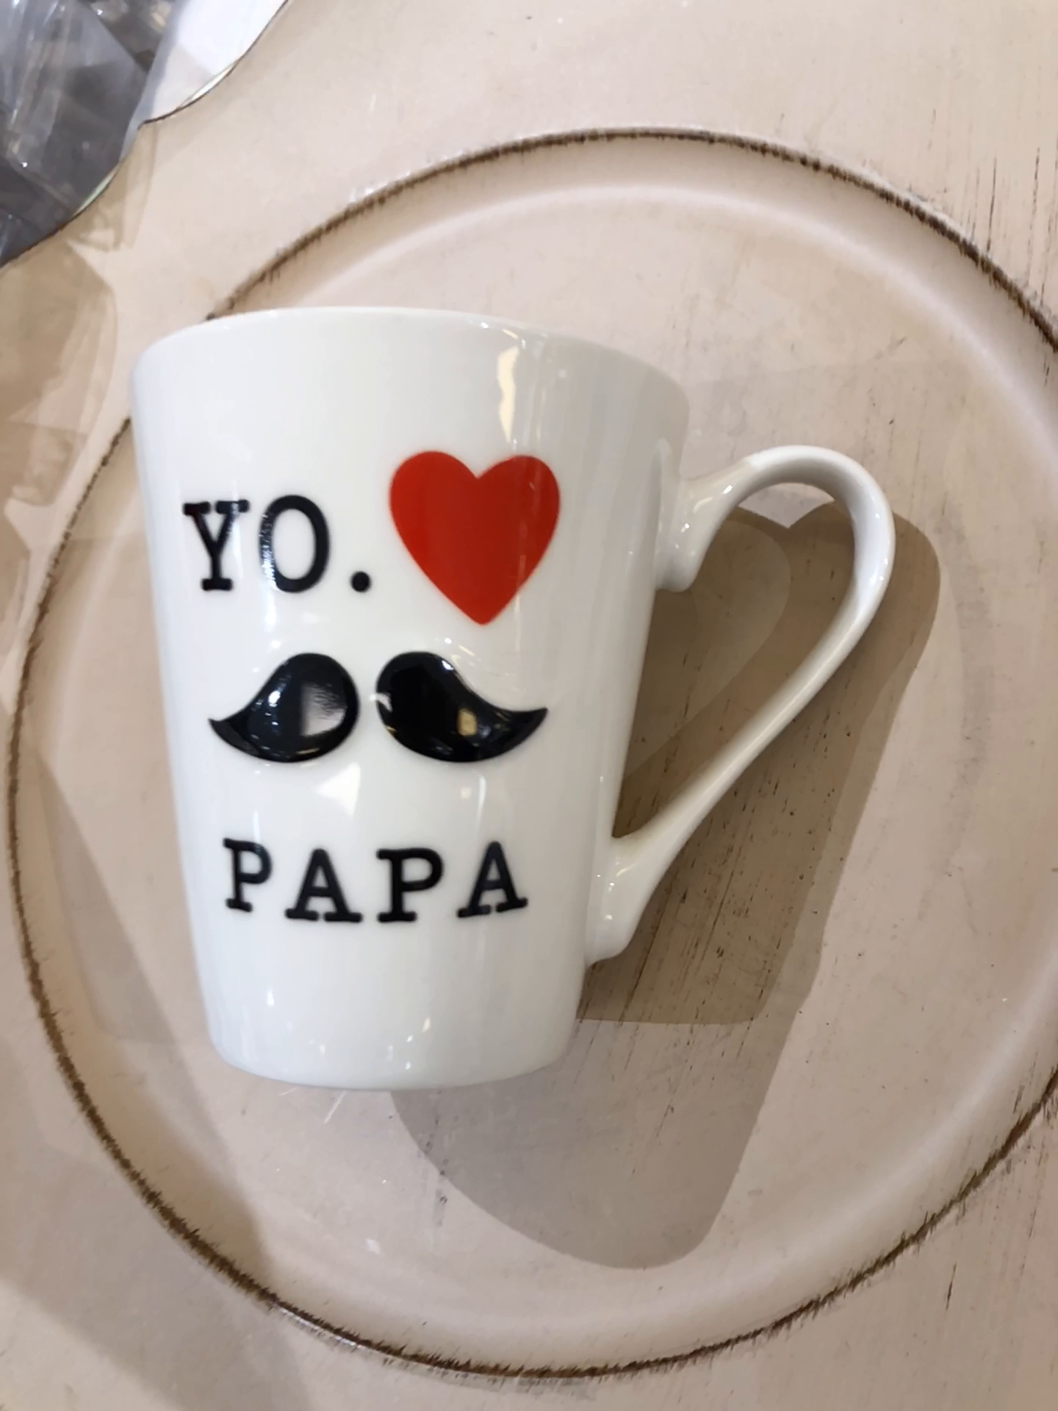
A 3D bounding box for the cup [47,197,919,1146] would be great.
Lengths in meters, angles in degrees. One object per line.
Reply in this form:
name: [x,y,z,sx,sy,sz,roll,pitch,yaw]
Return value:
cup: [-0.005,-0.005,0.198,0.110,0.090,0.120,0,90,2]
